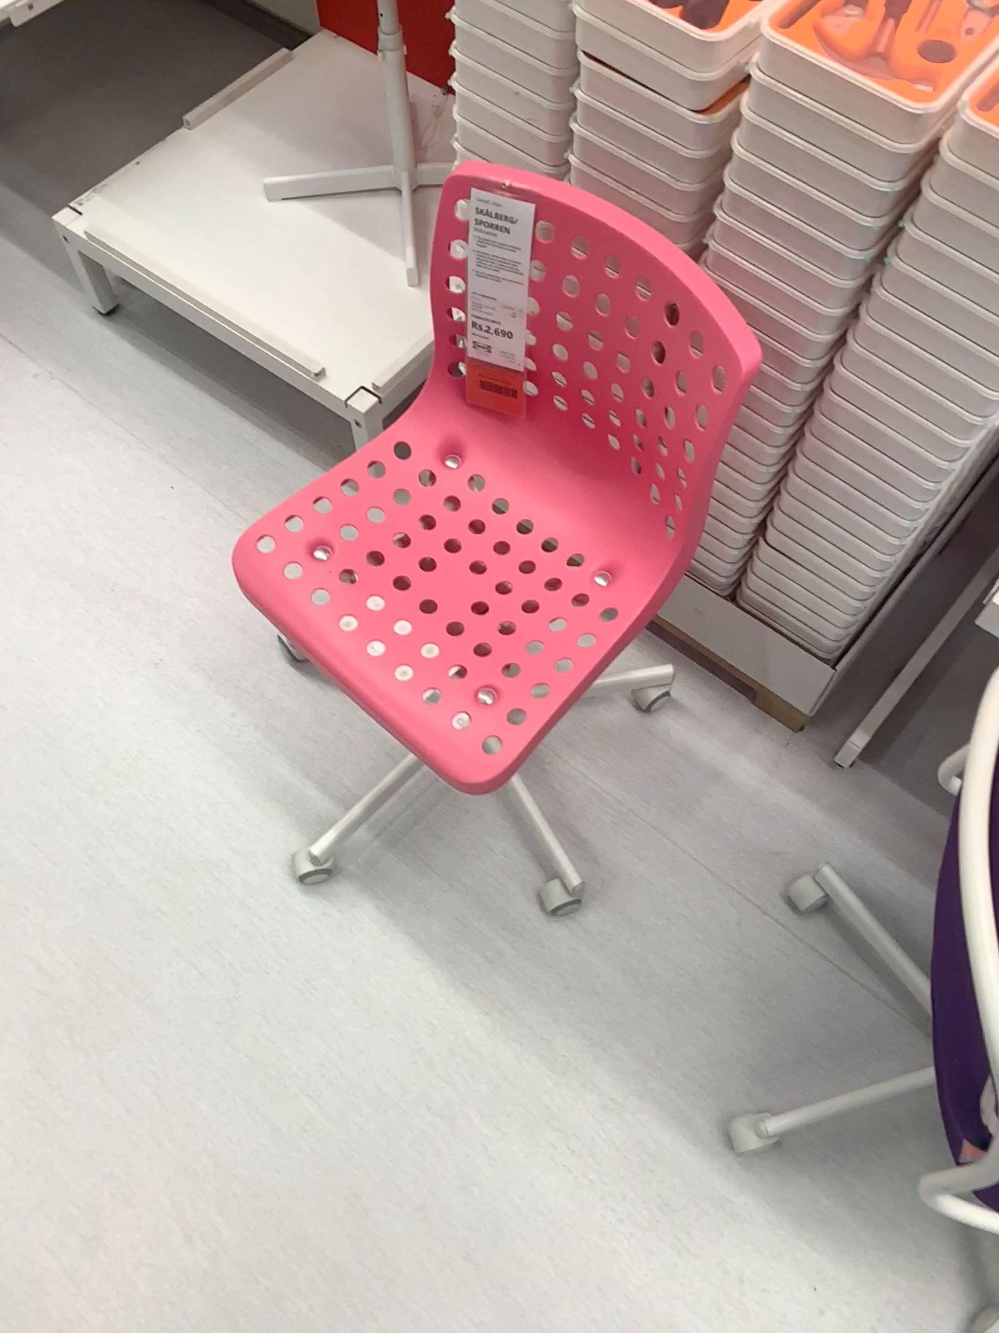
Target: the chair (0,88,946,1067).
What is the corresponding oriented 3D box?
[{"bbox_3d":[-0.066,-0.073,1.229,0.671,0.689,0.691,39,69,19],"label":"chair"}]
